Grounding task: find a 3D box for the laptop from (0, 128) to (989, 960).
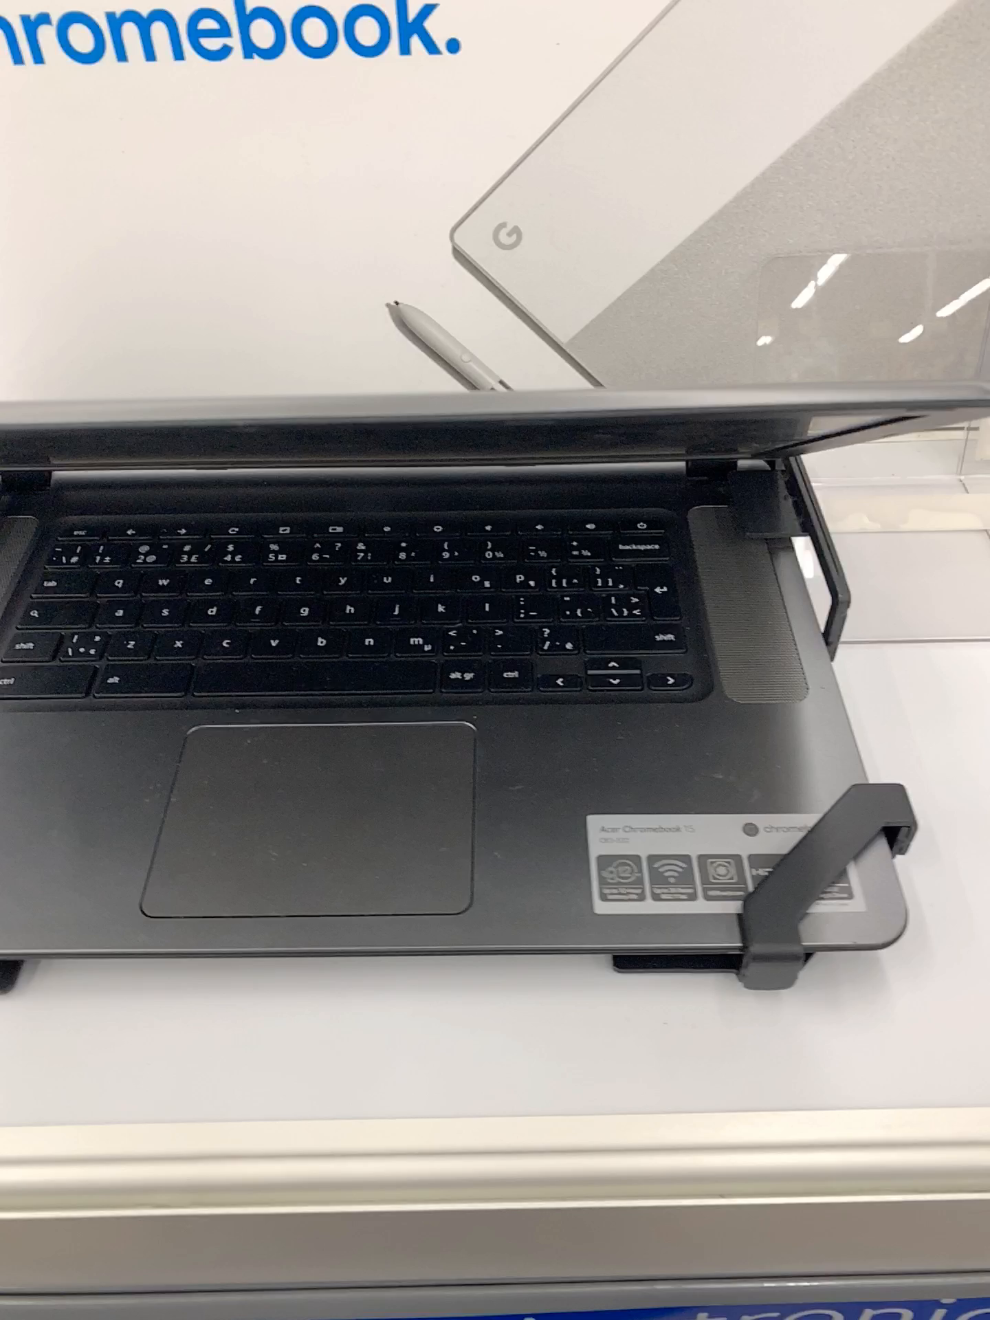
[{"bbox_3d":[-0.048,-0.040,0.272,0.303,0.119,0.198,-1,46,1],"label":"laptop"}]
